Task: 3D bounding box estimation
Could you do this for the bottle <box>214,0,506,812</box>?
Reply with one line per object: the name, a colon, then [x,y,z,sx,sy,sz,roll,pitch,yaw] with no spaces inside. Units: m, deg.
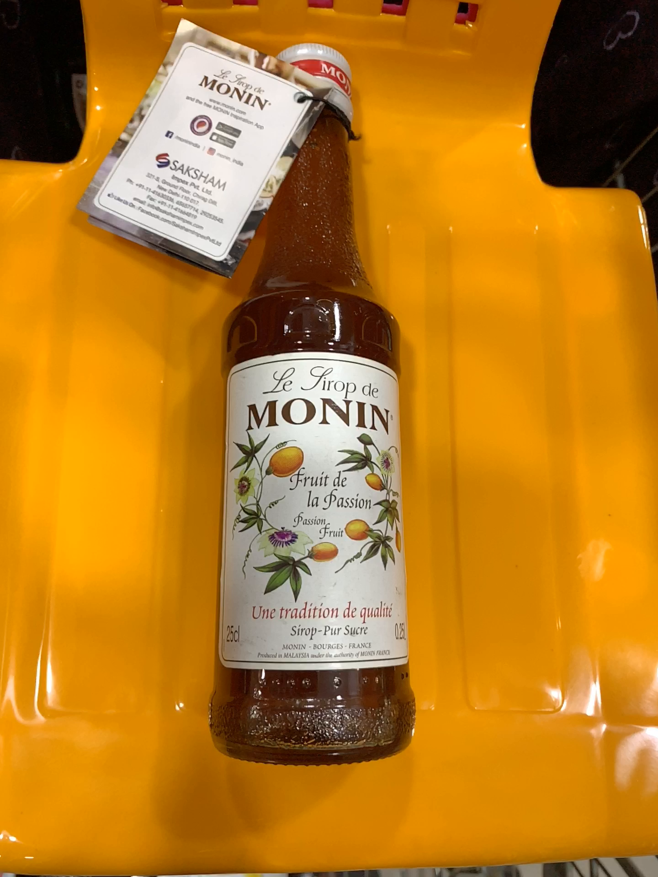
bottle: [0.005,-0.026,0.192,0.060,0.060,0.220,1,78,-4]
